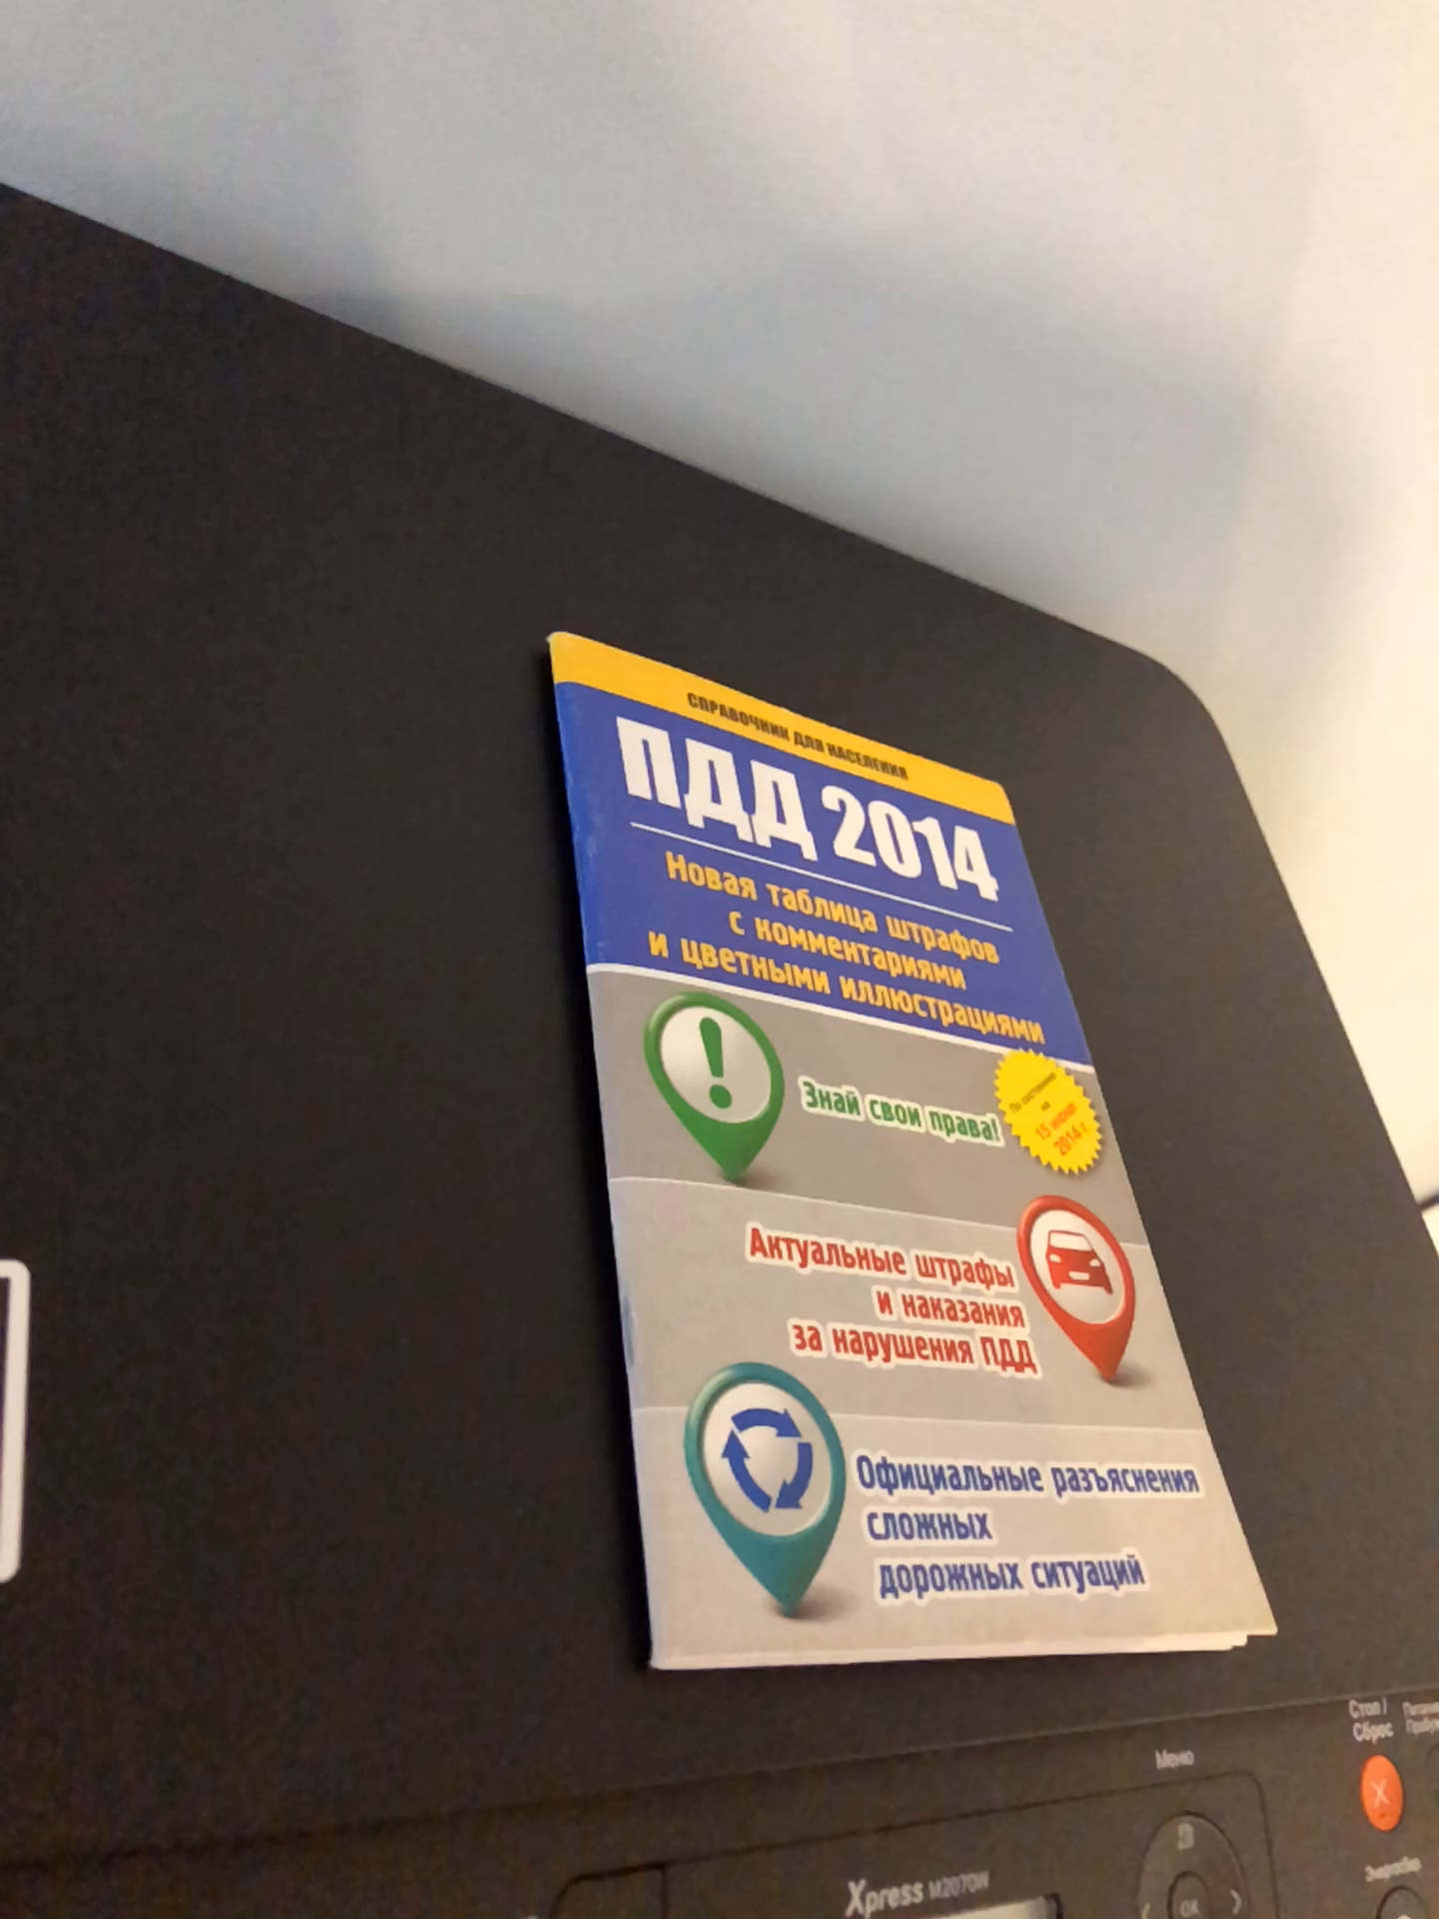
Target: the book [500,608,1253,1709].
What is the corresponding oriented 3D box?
[{"bbox_3d":[0.025,0.029,0.303,0.130,0.010,0.201,13,52,-32],"label":"book"}]
